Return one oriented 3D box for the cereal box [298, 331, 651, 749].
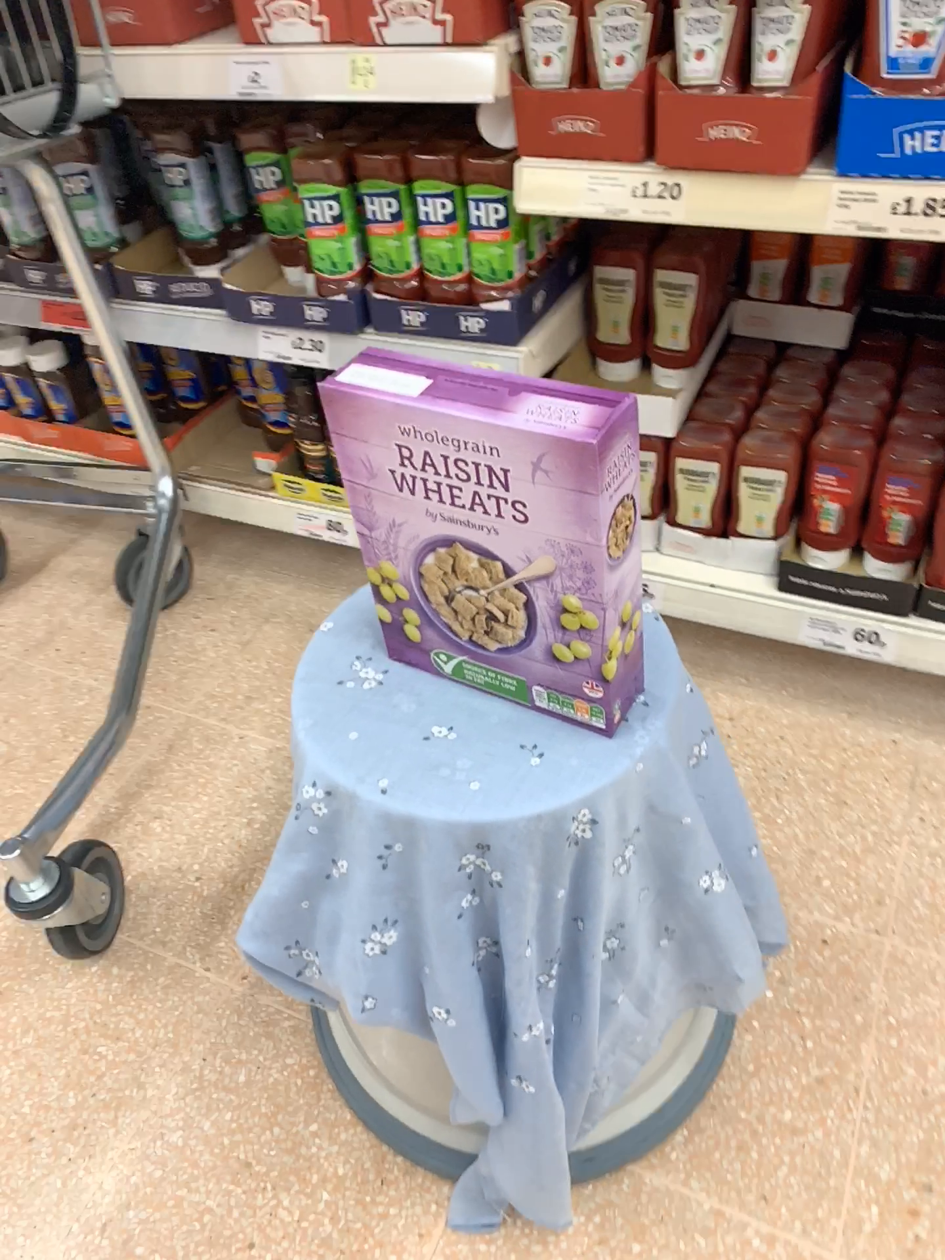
[{"bbox_3d":[0.009,-0.055,0.628,0.201,0.238,0.060,19,48,27],"label":"cereal box"}]
